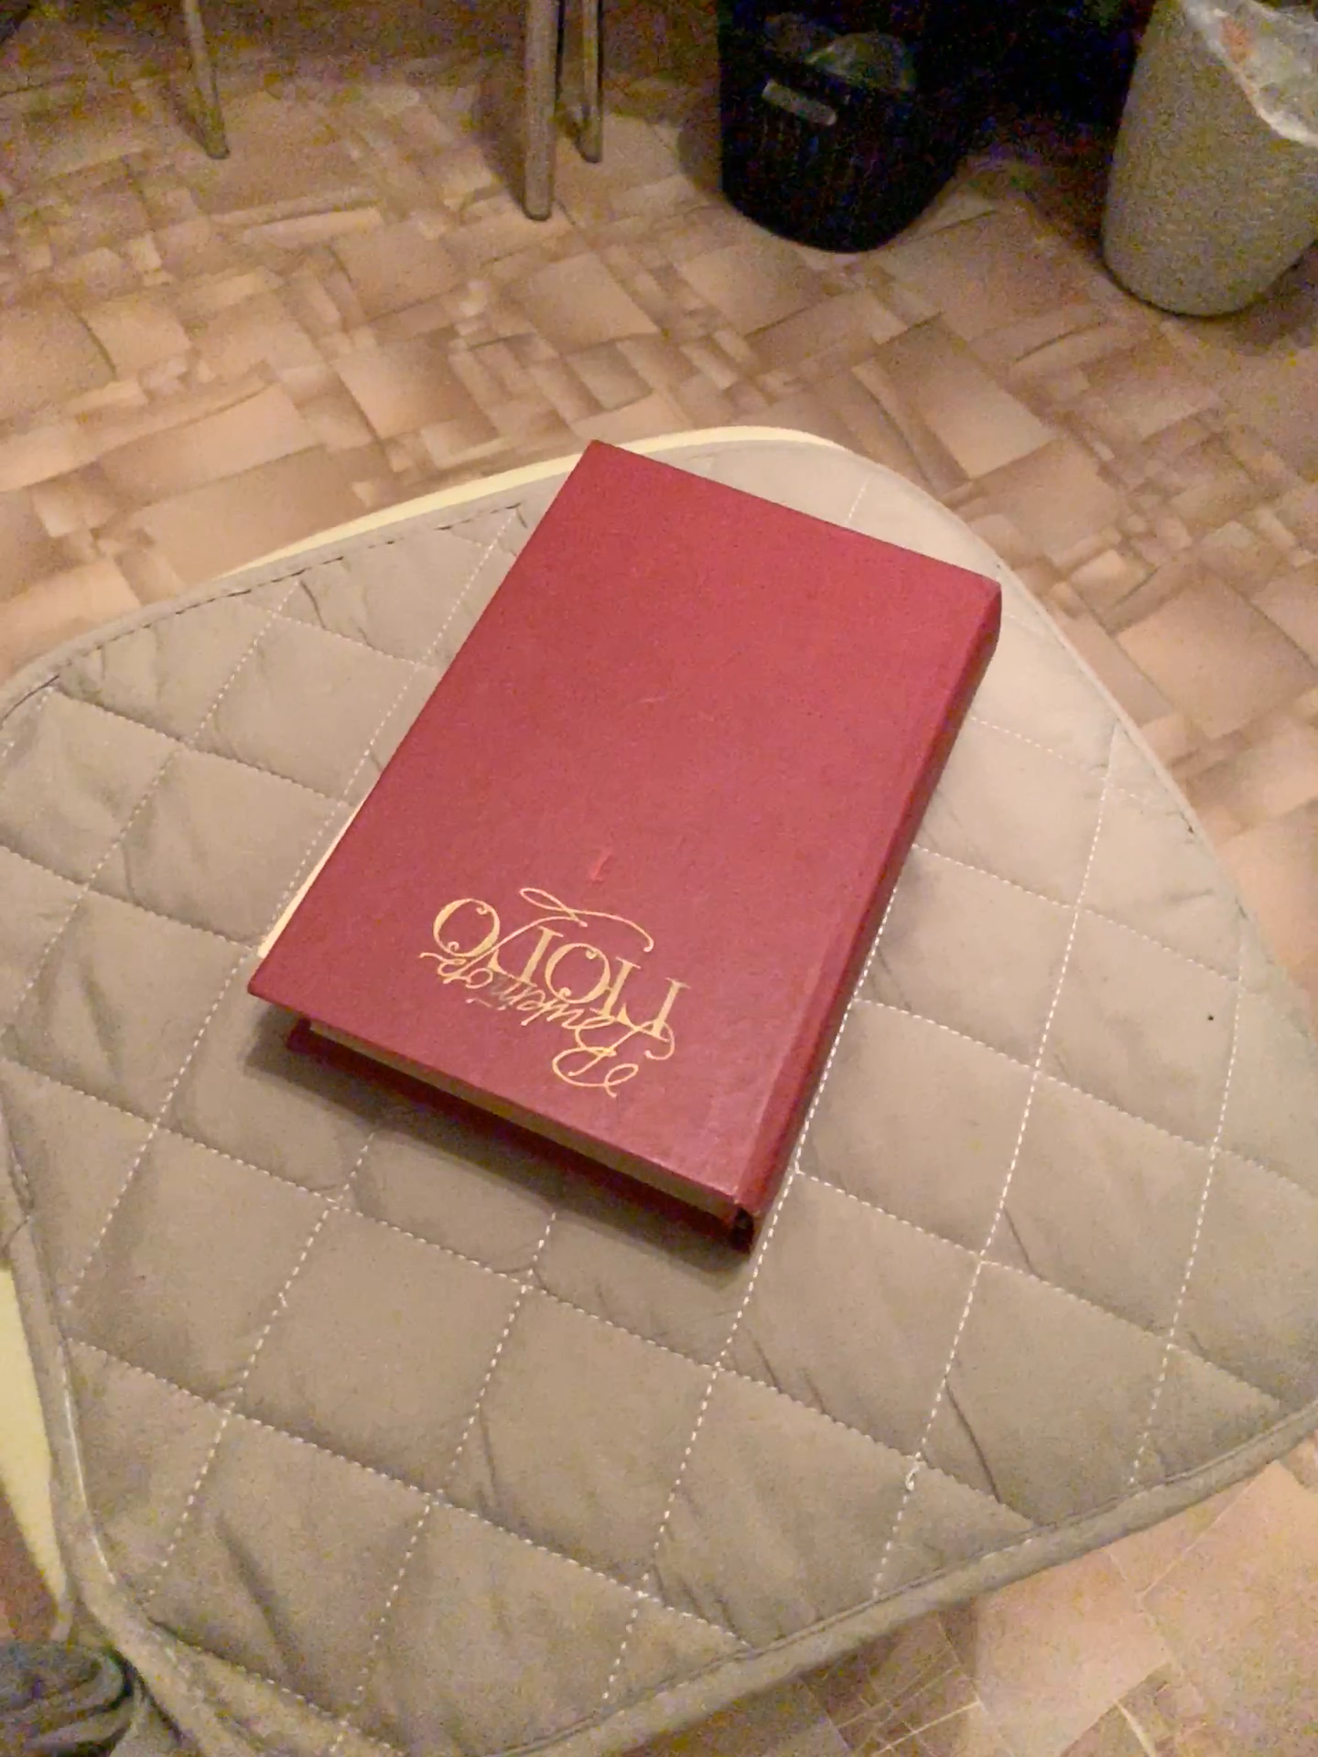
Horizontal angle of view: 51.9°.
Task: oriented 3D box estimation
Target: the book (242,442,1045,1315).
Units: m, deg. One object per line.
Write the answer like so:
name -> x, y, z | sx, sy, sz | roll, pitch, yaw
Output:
book -> 0.005, -0.009, 0.372 | 0.140, 0.060, 0.201 | 22, 62, 7
